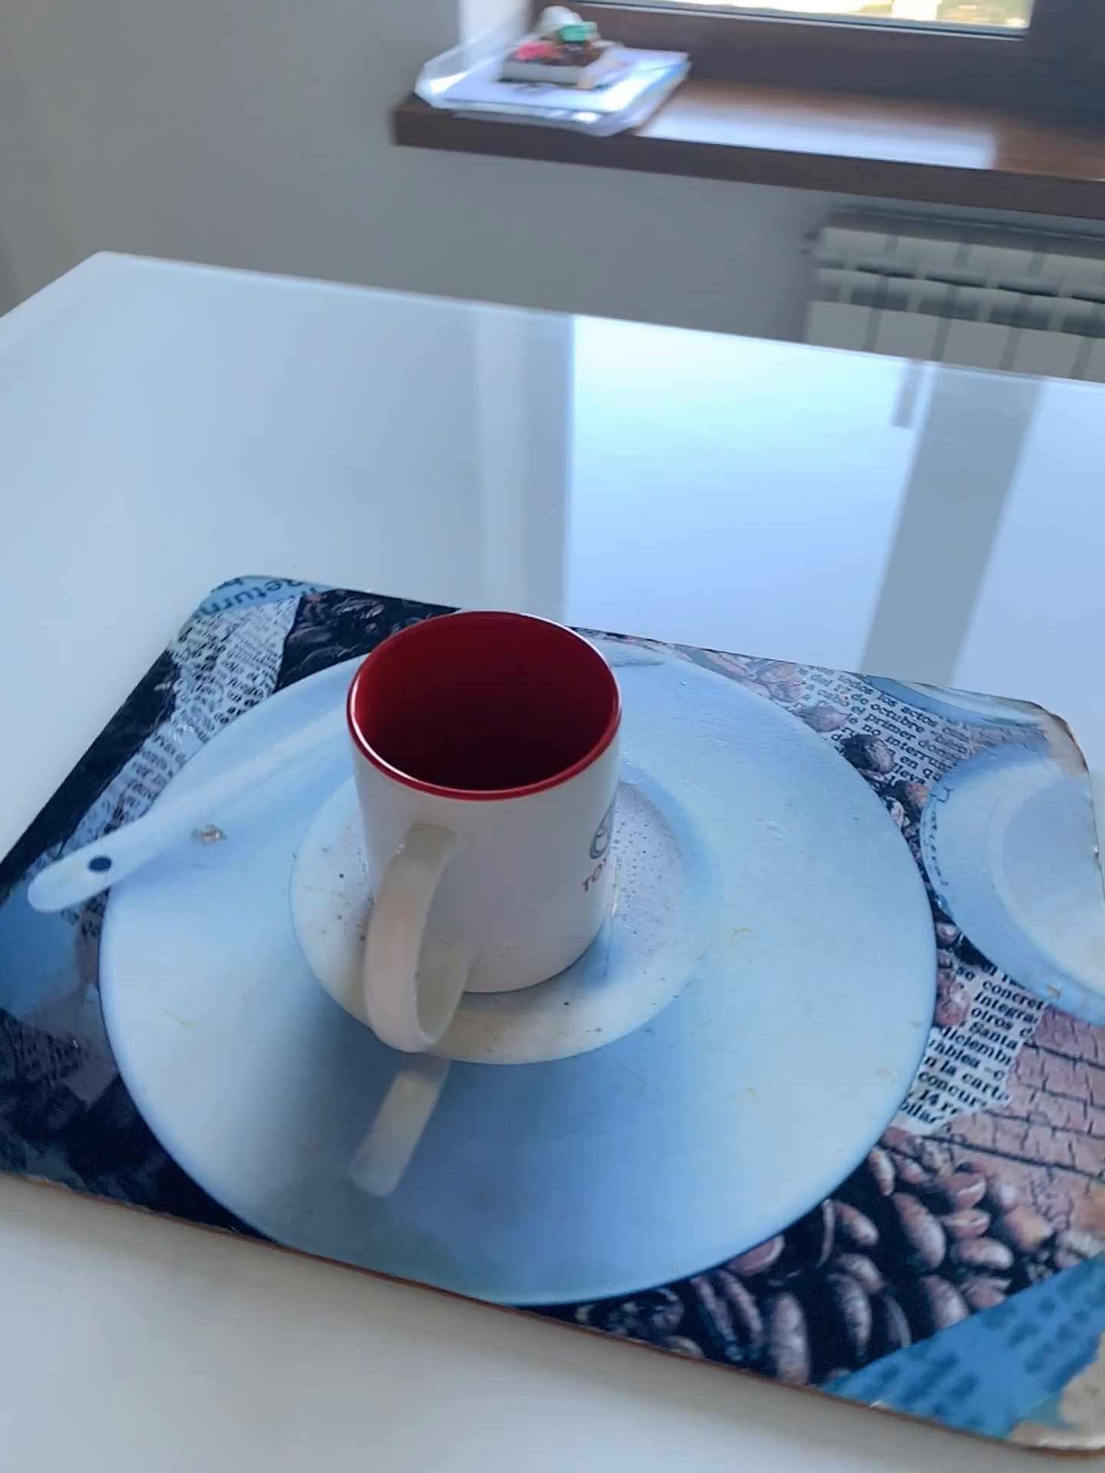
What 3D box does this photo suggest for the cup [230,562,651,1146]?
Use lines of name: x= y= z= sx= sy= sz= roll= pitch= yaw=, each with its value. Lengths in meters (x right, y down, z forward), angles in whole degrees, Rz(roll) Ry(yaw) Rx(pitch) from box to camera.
cup: x=-0.025 y=0.034 z=0.345 sx=0.077 sy=0.115 sz=0.117 roll=12 pitch=45 yaw=11
